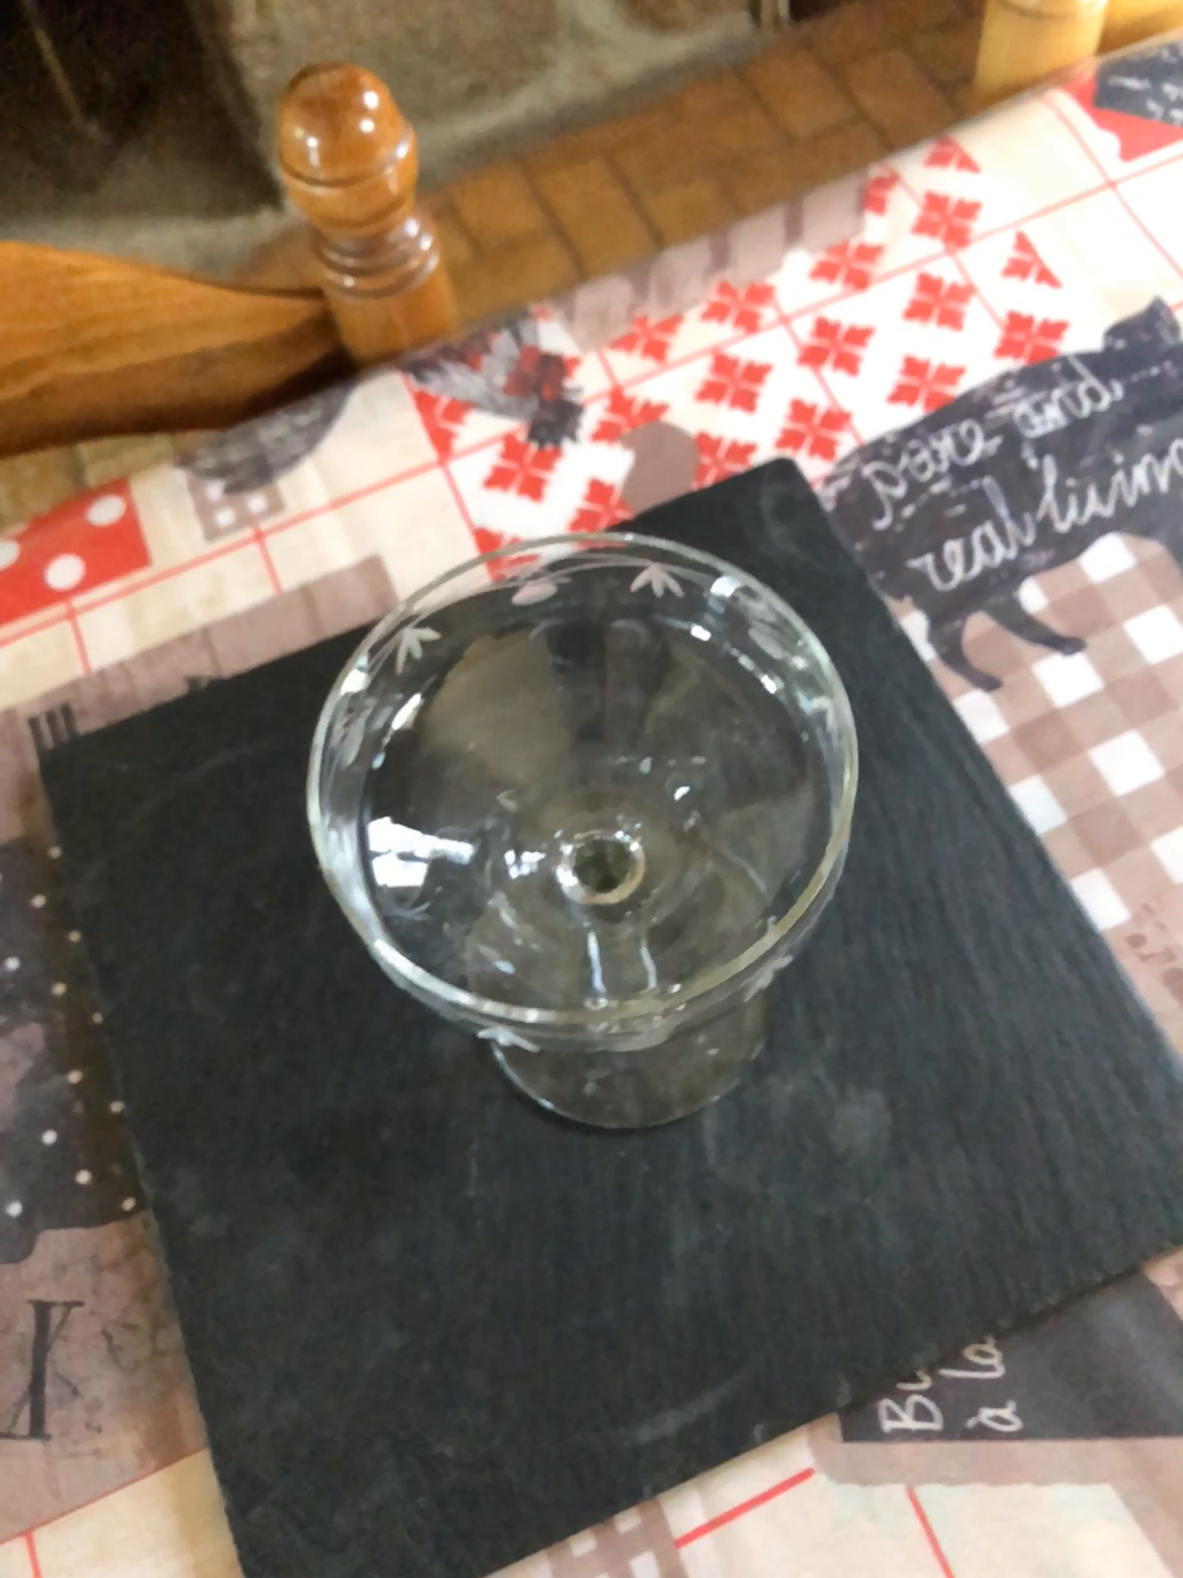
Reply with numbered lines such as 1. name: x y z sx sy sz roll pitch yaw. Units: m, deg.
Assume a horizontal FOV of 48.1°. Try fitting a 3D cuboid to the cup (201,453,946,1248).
1. cup: 0.000 0.020 0.272 0.090 0.120 0.090 -2 63 5
